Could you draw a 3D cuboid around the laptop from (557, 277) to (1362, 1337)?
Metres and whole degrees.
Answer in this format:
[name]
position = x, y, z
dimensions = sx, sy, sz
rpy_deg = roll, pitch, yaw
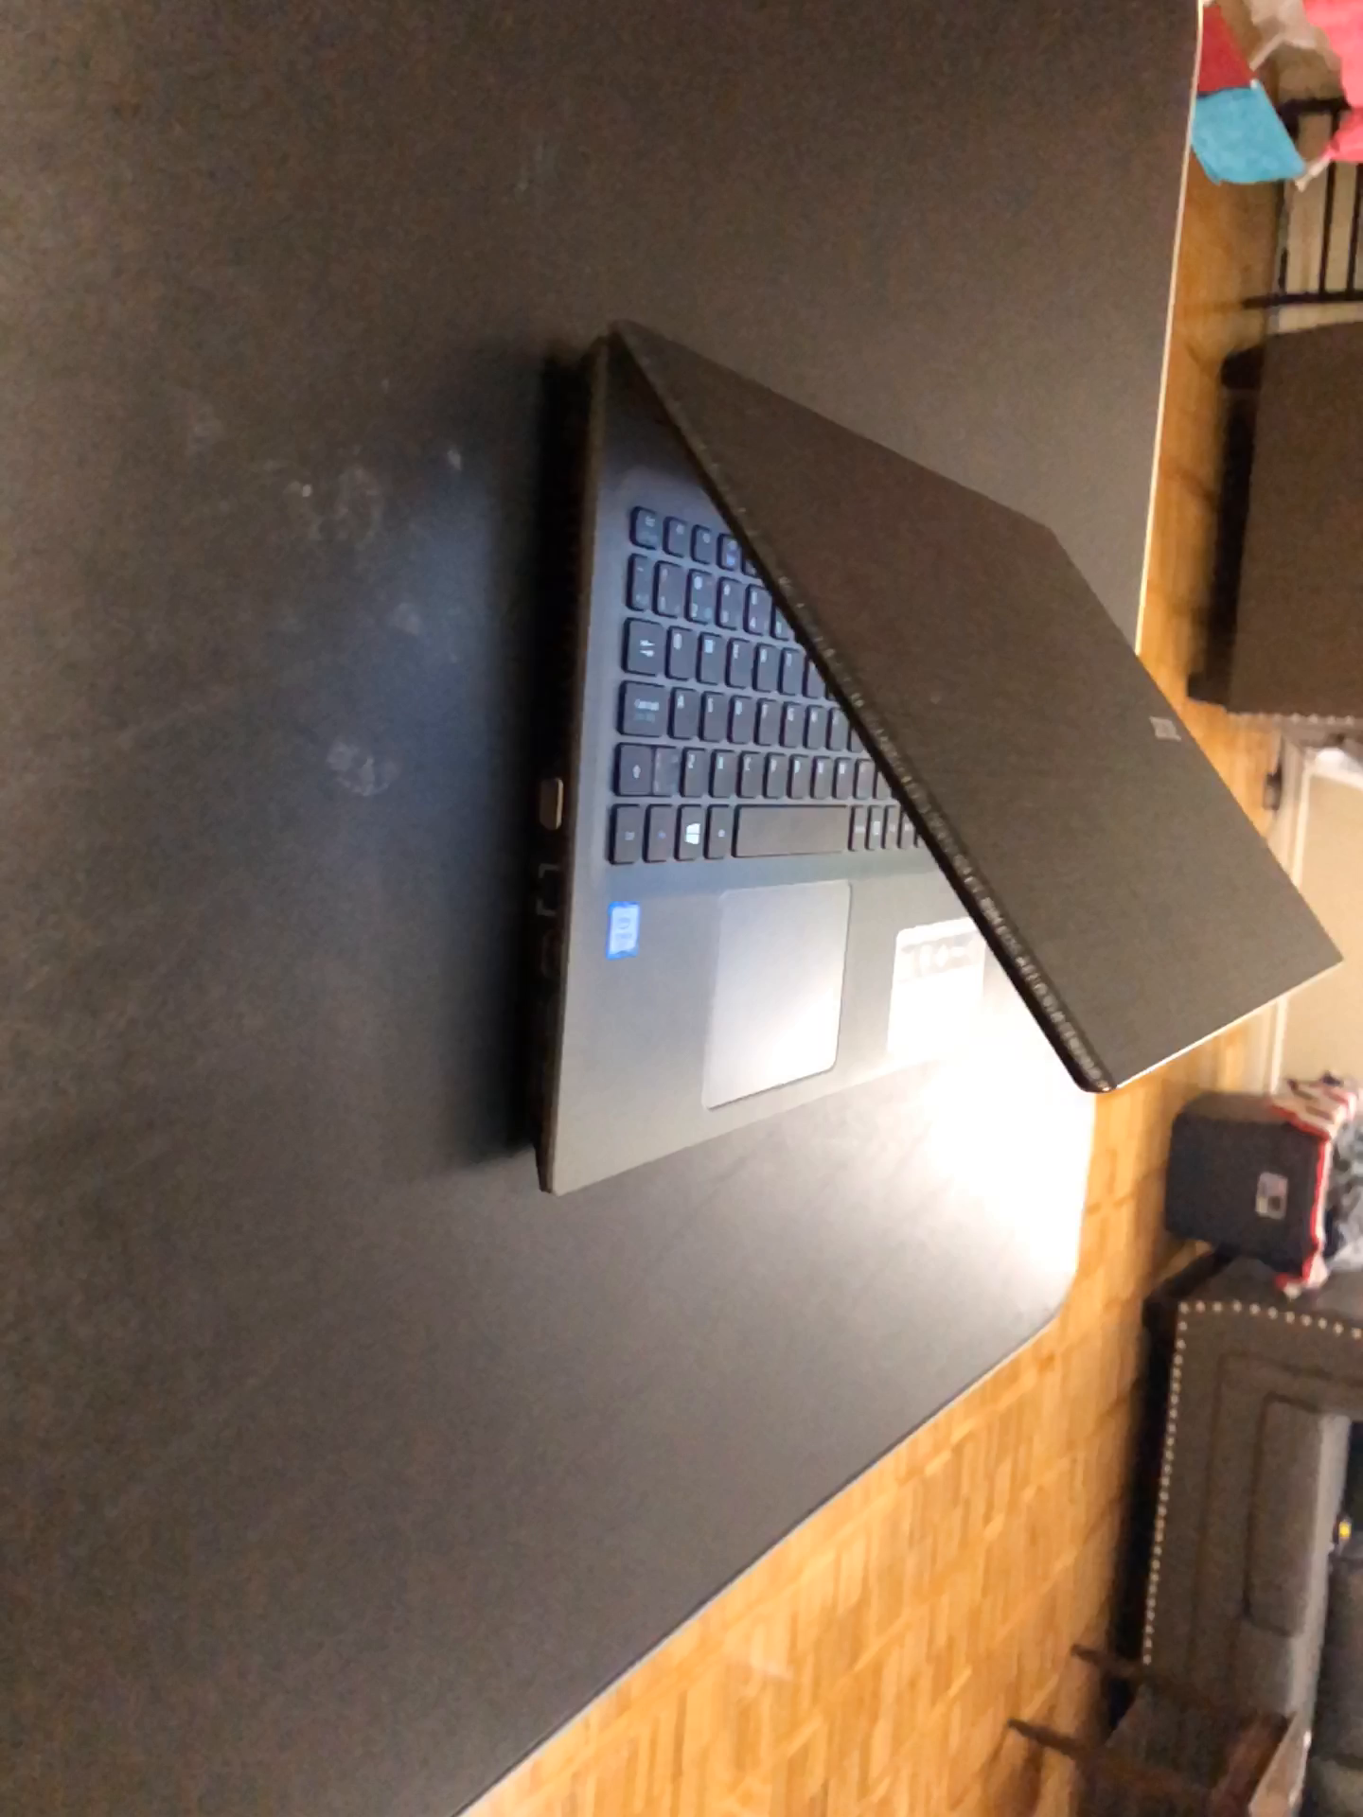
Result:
[laptop]
position = 0.135, -0.037, 0.553
dimensions = 0.371, 0.155, 0.251
rpy_deg = -6, 102, -58
